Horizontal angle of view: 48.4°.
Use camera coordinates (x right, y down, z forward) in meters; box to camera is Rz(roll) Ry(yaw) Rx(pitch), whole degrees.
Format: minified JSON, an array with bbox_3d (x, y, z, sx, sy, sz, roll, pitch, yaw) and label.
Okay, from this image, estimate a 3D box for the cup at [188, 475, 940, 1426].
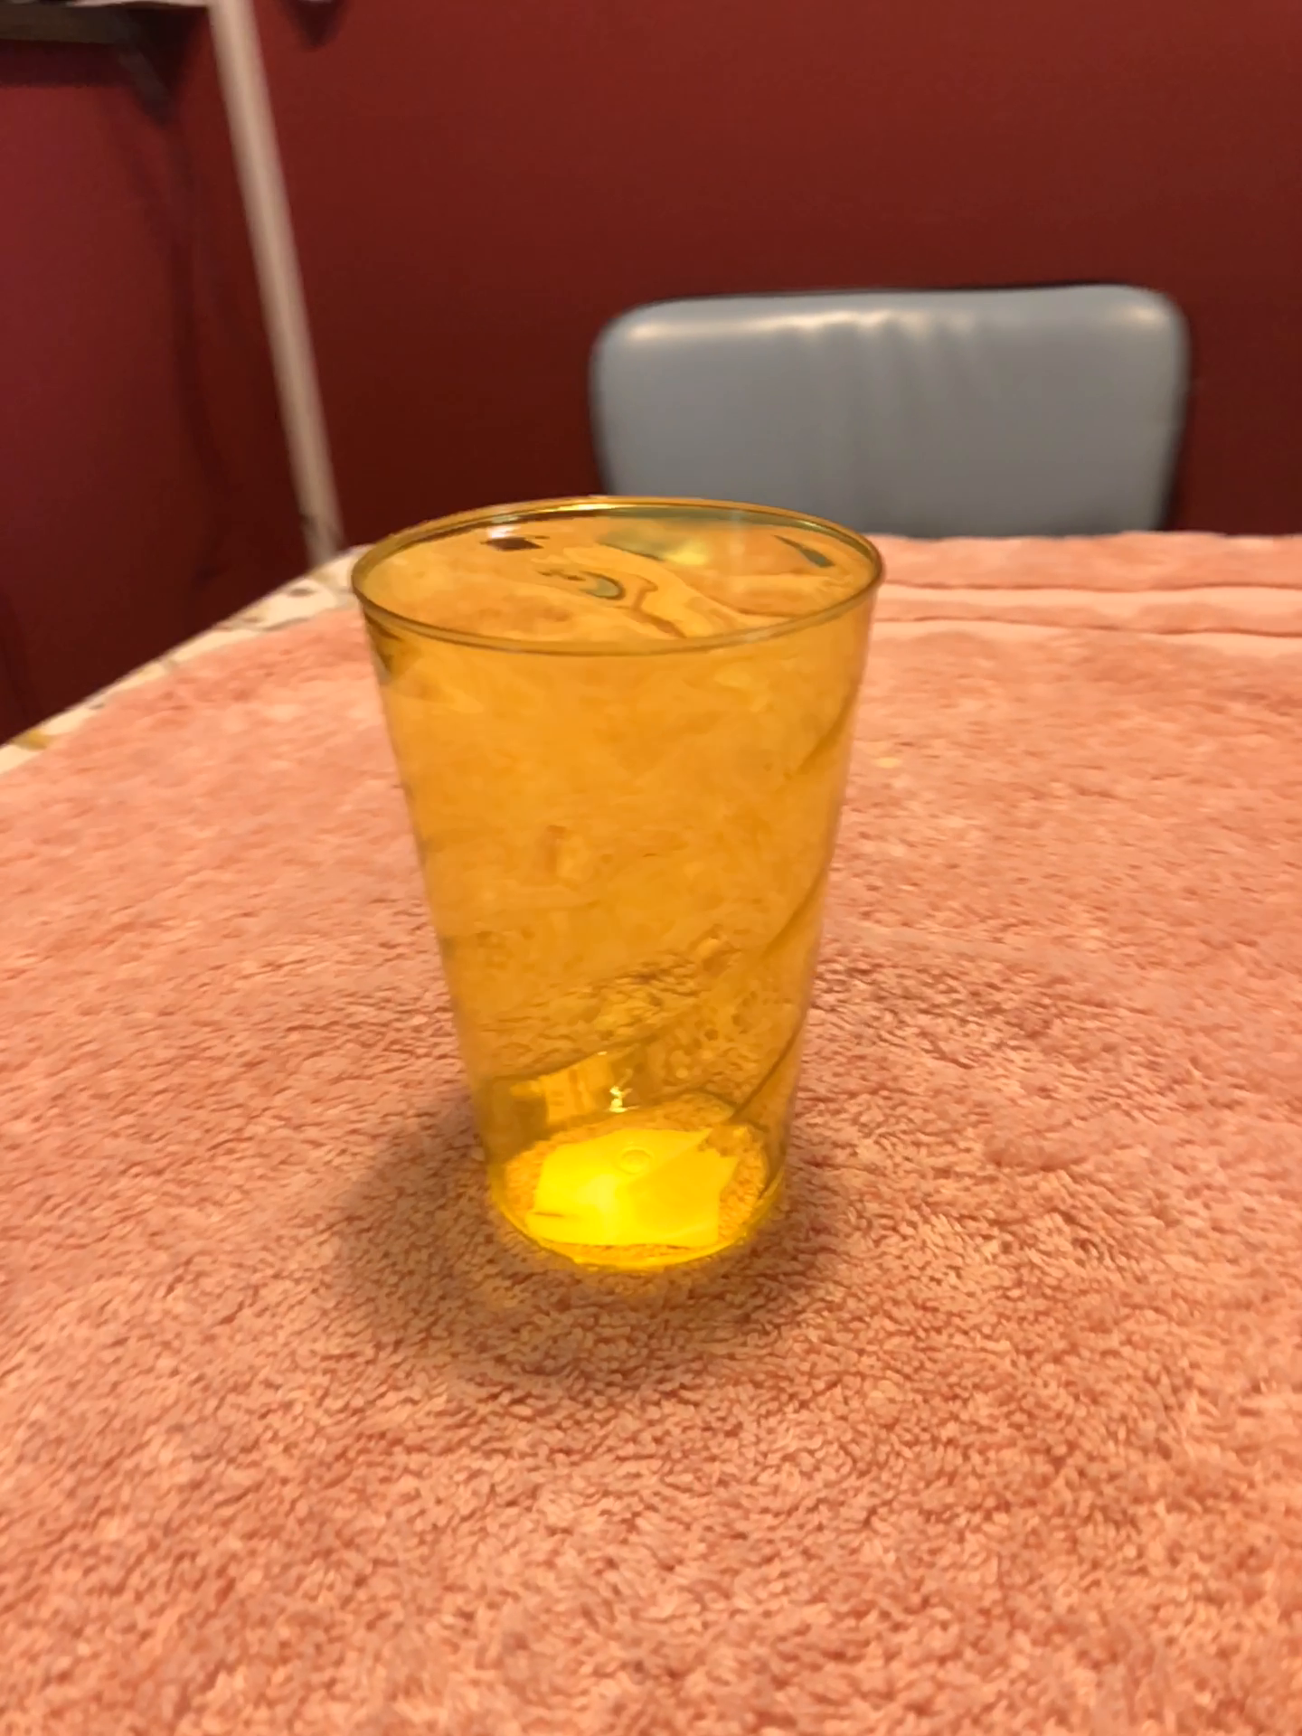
[{"bbox_3d":[-0.006,0.006,0.240,0.080,0.119,0.080,-4,26,2],"label":"cup"}]
